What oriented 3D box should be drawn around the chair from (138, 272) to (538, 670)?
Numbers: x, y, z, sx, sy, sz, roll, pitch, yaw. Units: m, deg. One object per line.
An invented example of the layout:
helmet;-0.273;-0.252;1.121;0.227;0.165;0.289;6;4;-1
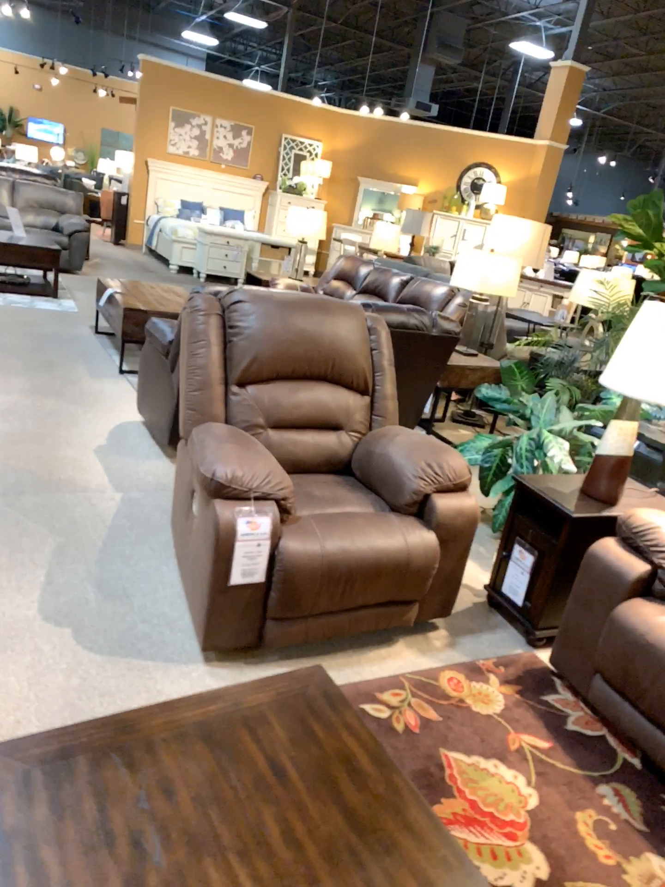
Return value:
chair;-0.095;0.022;2.551;1.001;1.028;1.069;1;21;-27
